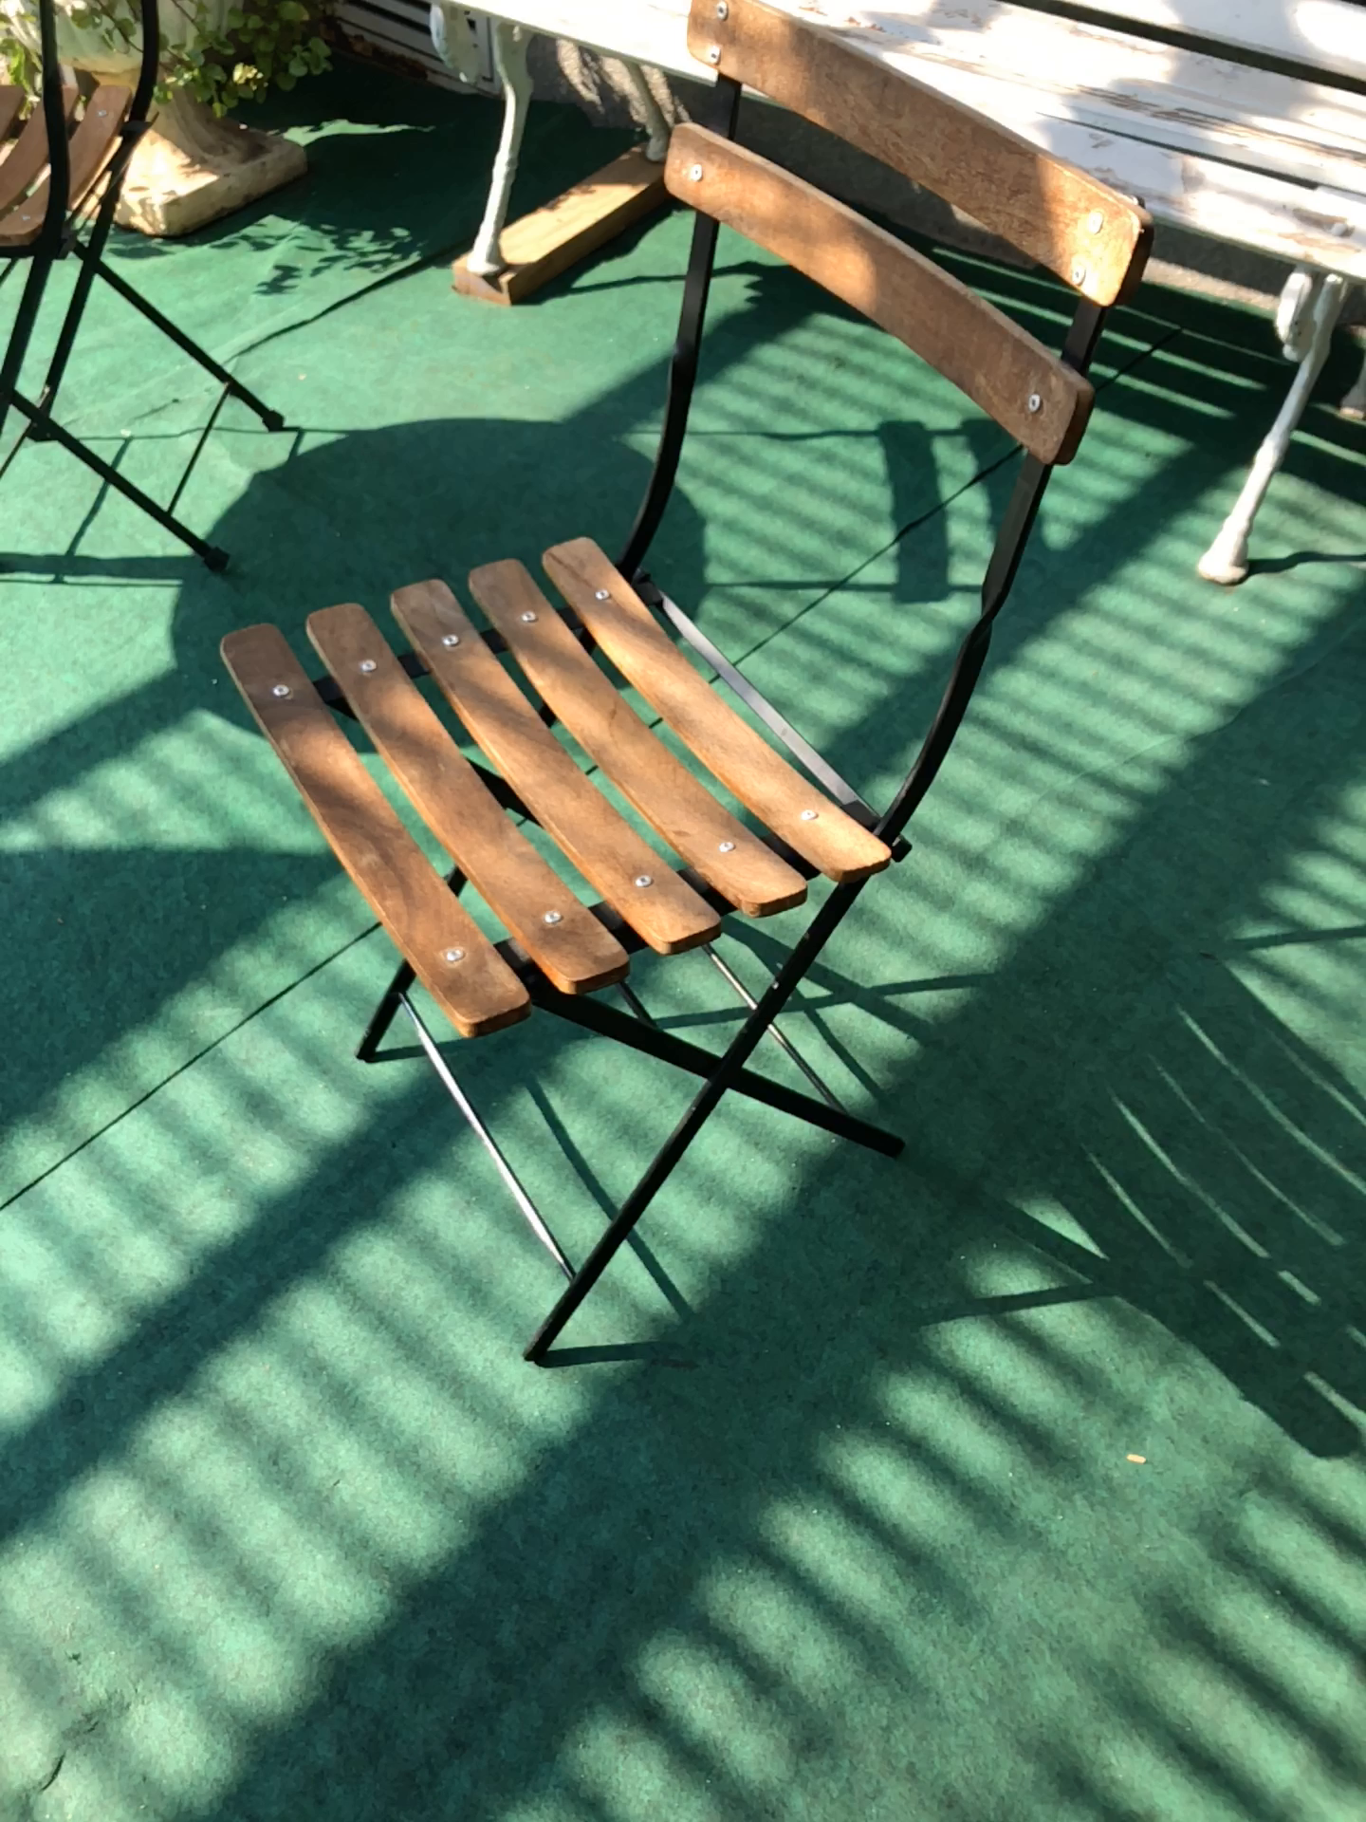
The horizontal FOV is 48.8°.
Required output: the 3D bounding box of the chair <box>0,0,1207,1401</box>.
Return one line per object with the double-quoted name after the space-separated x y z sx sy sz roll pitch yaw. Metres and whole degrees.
-0.061 -0.112 0.888 0.401 0.656 0.392 -24 52 -20 "chair"
